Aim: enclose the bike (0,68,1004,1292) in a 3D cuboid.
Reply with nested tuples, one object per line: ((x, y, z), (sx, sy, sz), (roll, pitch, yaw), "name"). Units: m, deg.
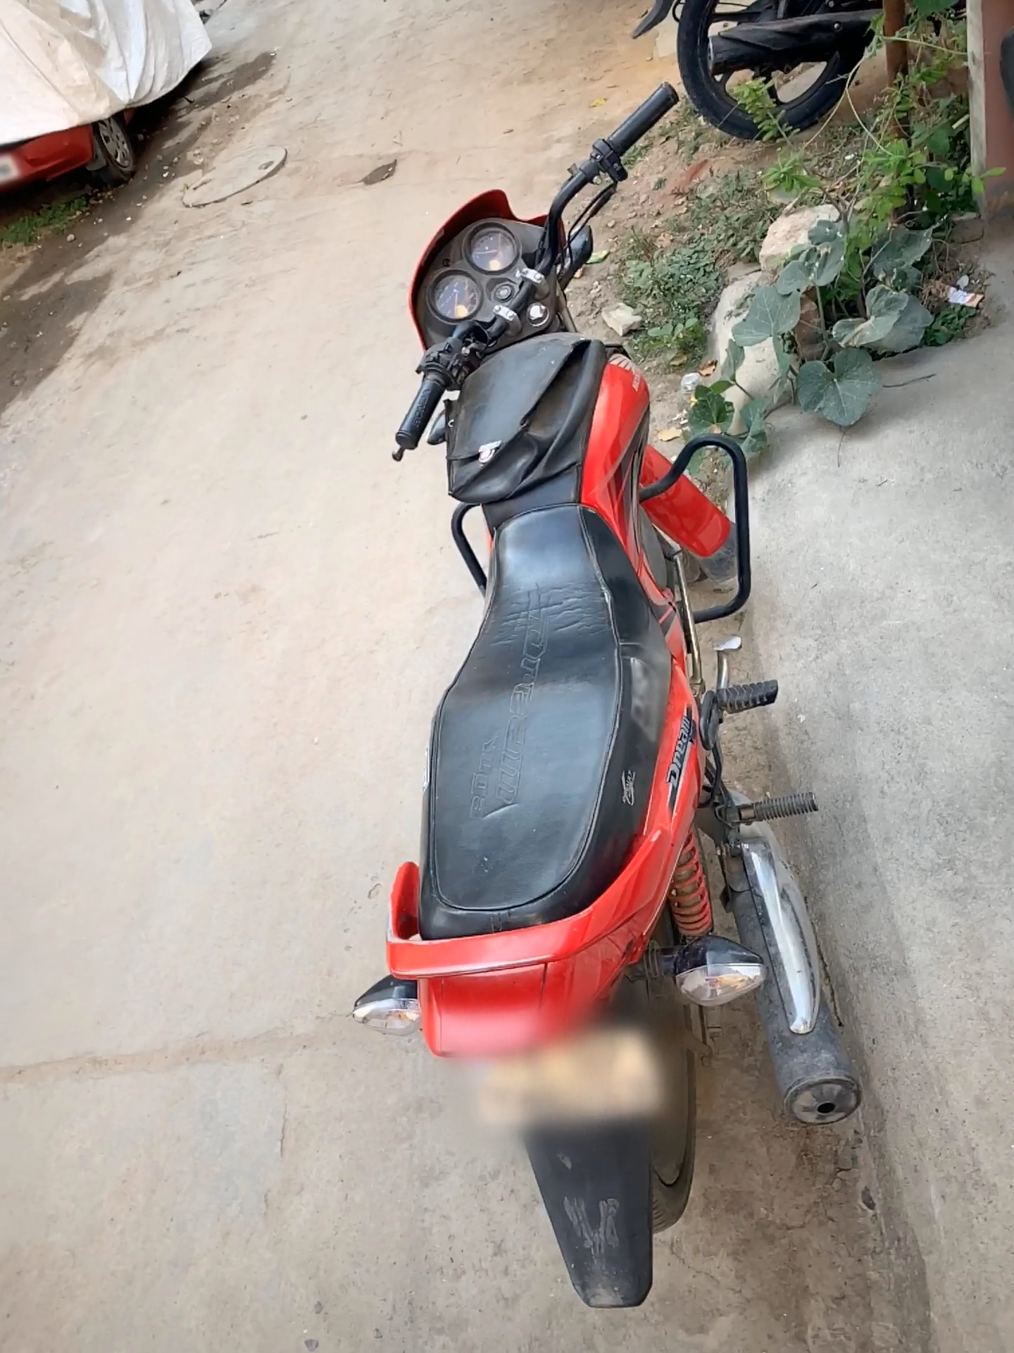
((0.058, -0.082, 1.727), (0.758, 1.092, 1.715), (-17, 44, 11), "bike")
